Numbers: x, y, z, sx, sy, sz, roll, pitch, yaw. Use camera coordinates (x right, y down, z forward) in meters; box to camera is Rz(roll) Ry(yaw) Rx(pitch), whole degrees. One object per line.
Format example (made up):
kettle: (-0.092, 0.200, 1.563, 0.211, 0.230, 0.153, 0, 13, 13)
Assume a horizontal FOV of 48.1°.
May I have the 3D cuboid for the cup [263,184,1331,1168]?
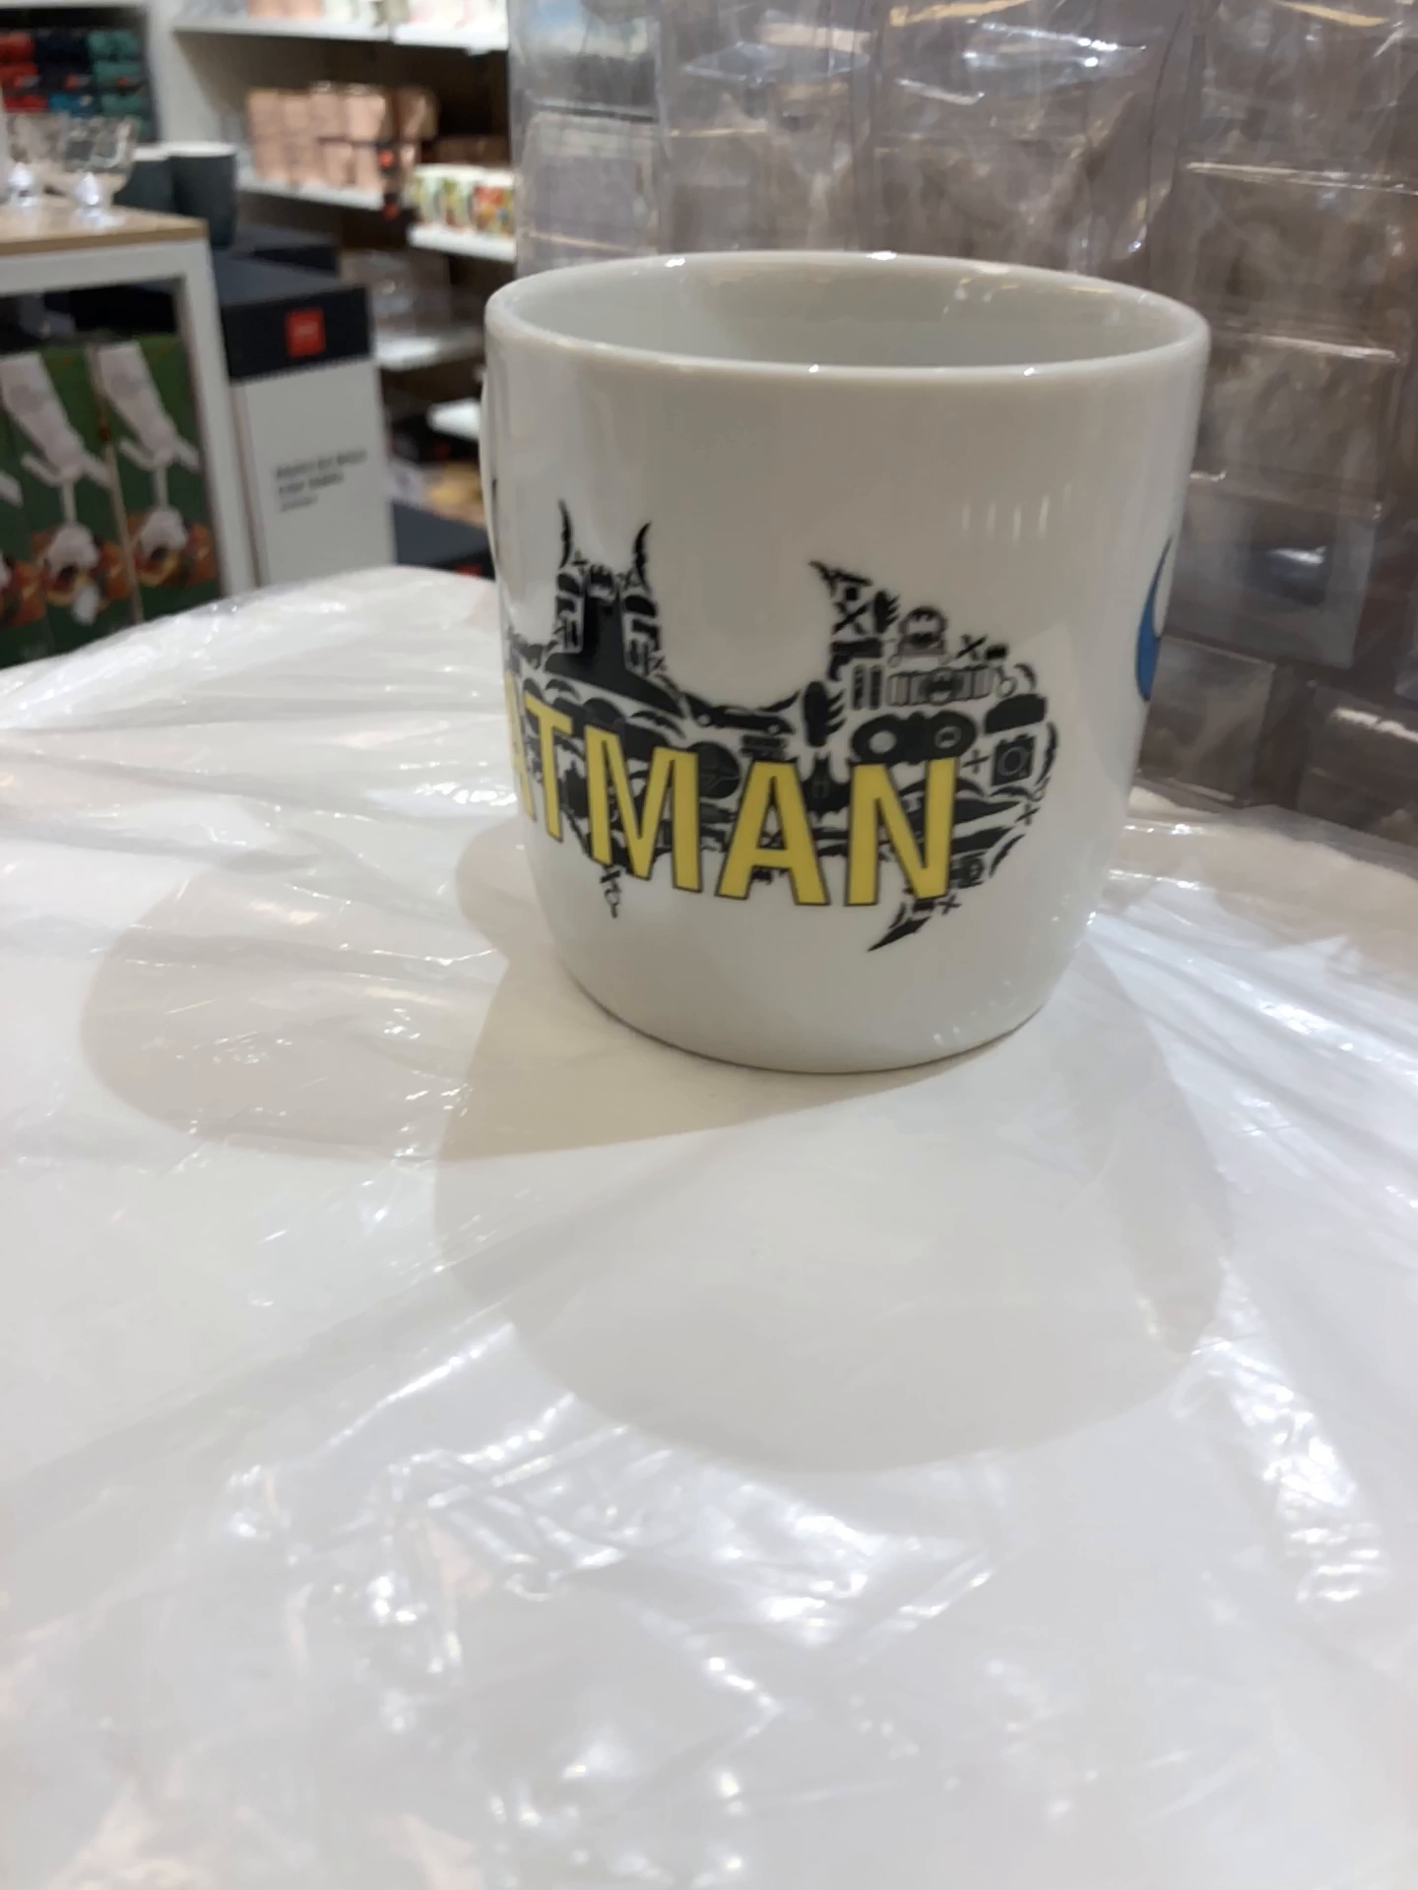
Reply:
cup: (0.004, -0.048, 0.218, 0.080, 0.089, 0.110, -20, 36, -31)
